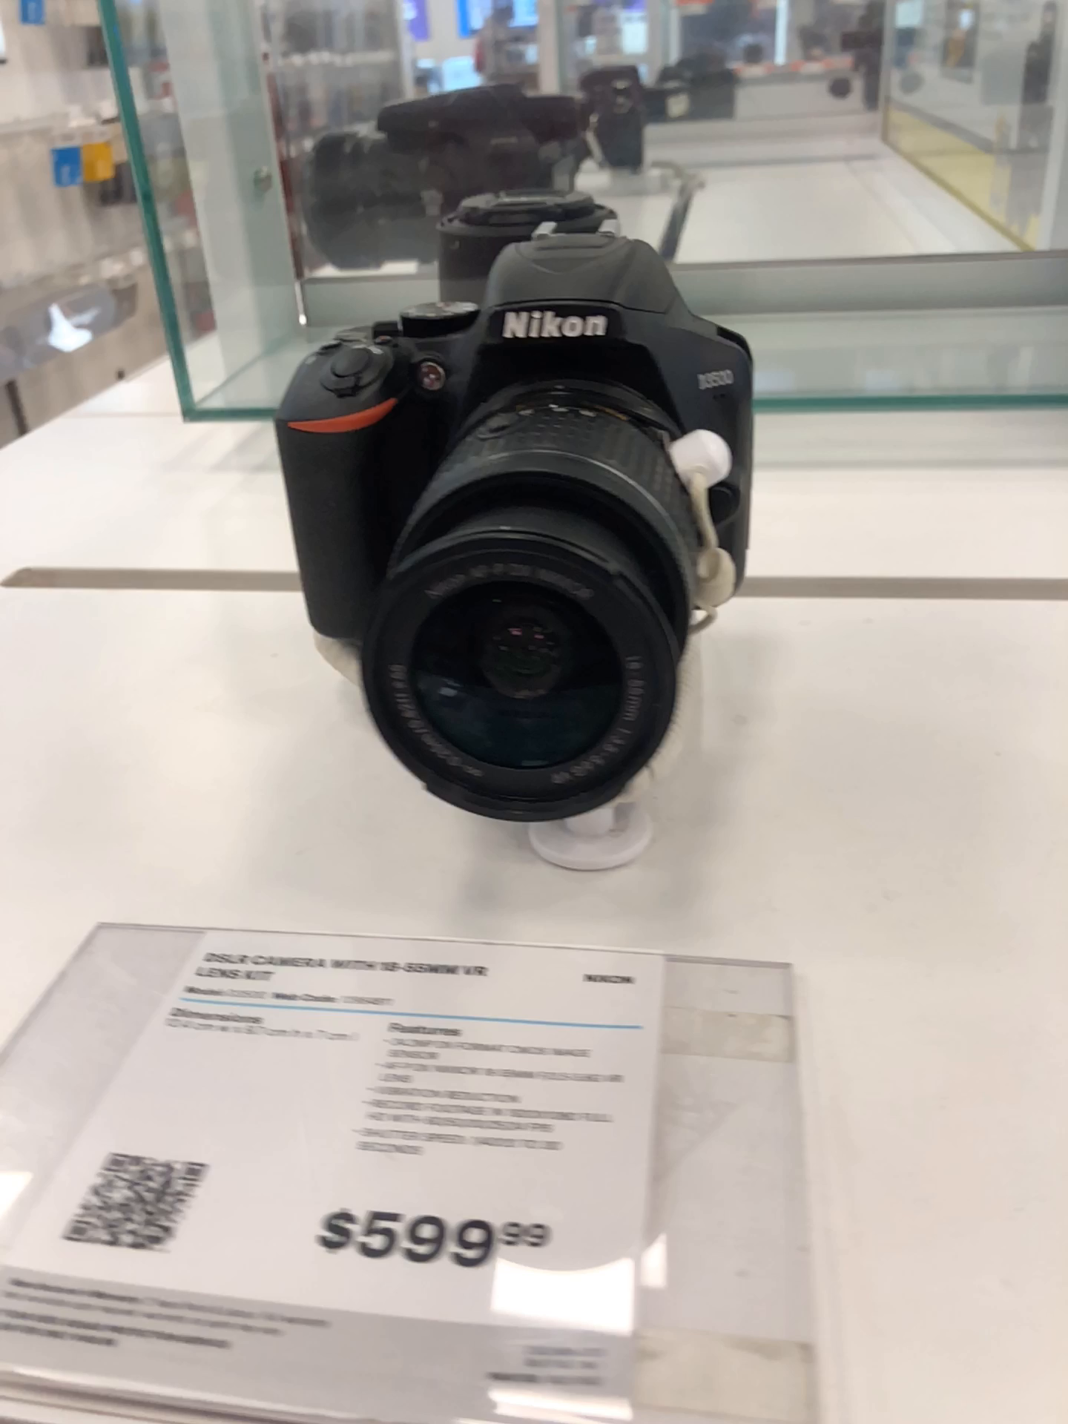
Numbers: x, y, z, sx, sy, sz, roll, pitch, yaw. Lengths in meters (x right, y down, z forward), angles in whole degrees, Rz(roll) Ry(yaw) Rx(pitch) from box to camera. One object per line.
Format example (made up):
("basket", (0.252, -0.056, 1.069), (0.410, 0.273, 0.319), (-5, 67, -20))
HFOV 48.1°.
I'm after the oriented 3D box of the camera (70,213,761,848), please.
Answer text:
("camera", (-0.007, -0.059, 0.302), (0.120, 0.100, 0.171), (2, 29, 11))
